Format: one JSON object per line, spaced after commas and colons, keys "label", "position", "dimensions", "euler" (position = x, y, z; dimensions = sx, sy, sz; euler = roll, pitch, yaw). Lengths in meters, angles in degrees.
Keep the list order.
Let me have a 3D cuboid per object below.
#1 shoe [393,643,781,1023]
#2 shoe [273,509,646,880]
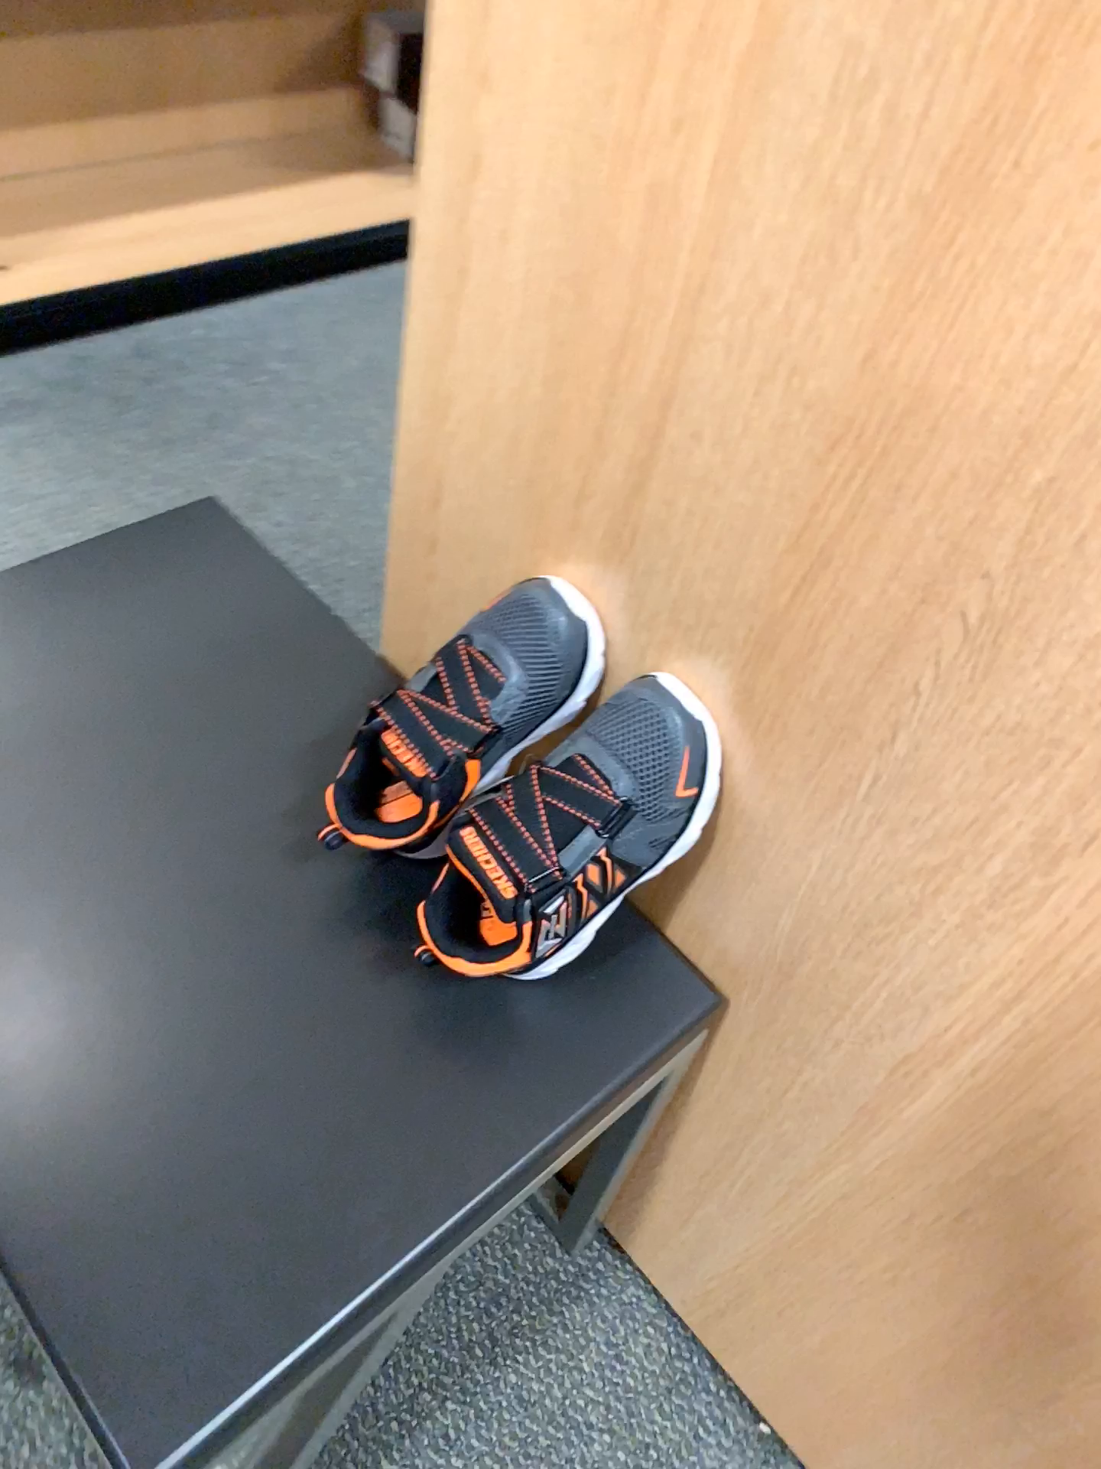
{"label": "shoe", "position": [0.019, 0.053, 0.617], "dimensions": [0.090, 0.180, 0.100], "euler": [46, 21, 26]}
{"label": "shoe", "position": [-0.052, -0.018, 0.638], "dimensions": [0.090, 0.180, 0.100], "euler": [46, 21, 26]}
